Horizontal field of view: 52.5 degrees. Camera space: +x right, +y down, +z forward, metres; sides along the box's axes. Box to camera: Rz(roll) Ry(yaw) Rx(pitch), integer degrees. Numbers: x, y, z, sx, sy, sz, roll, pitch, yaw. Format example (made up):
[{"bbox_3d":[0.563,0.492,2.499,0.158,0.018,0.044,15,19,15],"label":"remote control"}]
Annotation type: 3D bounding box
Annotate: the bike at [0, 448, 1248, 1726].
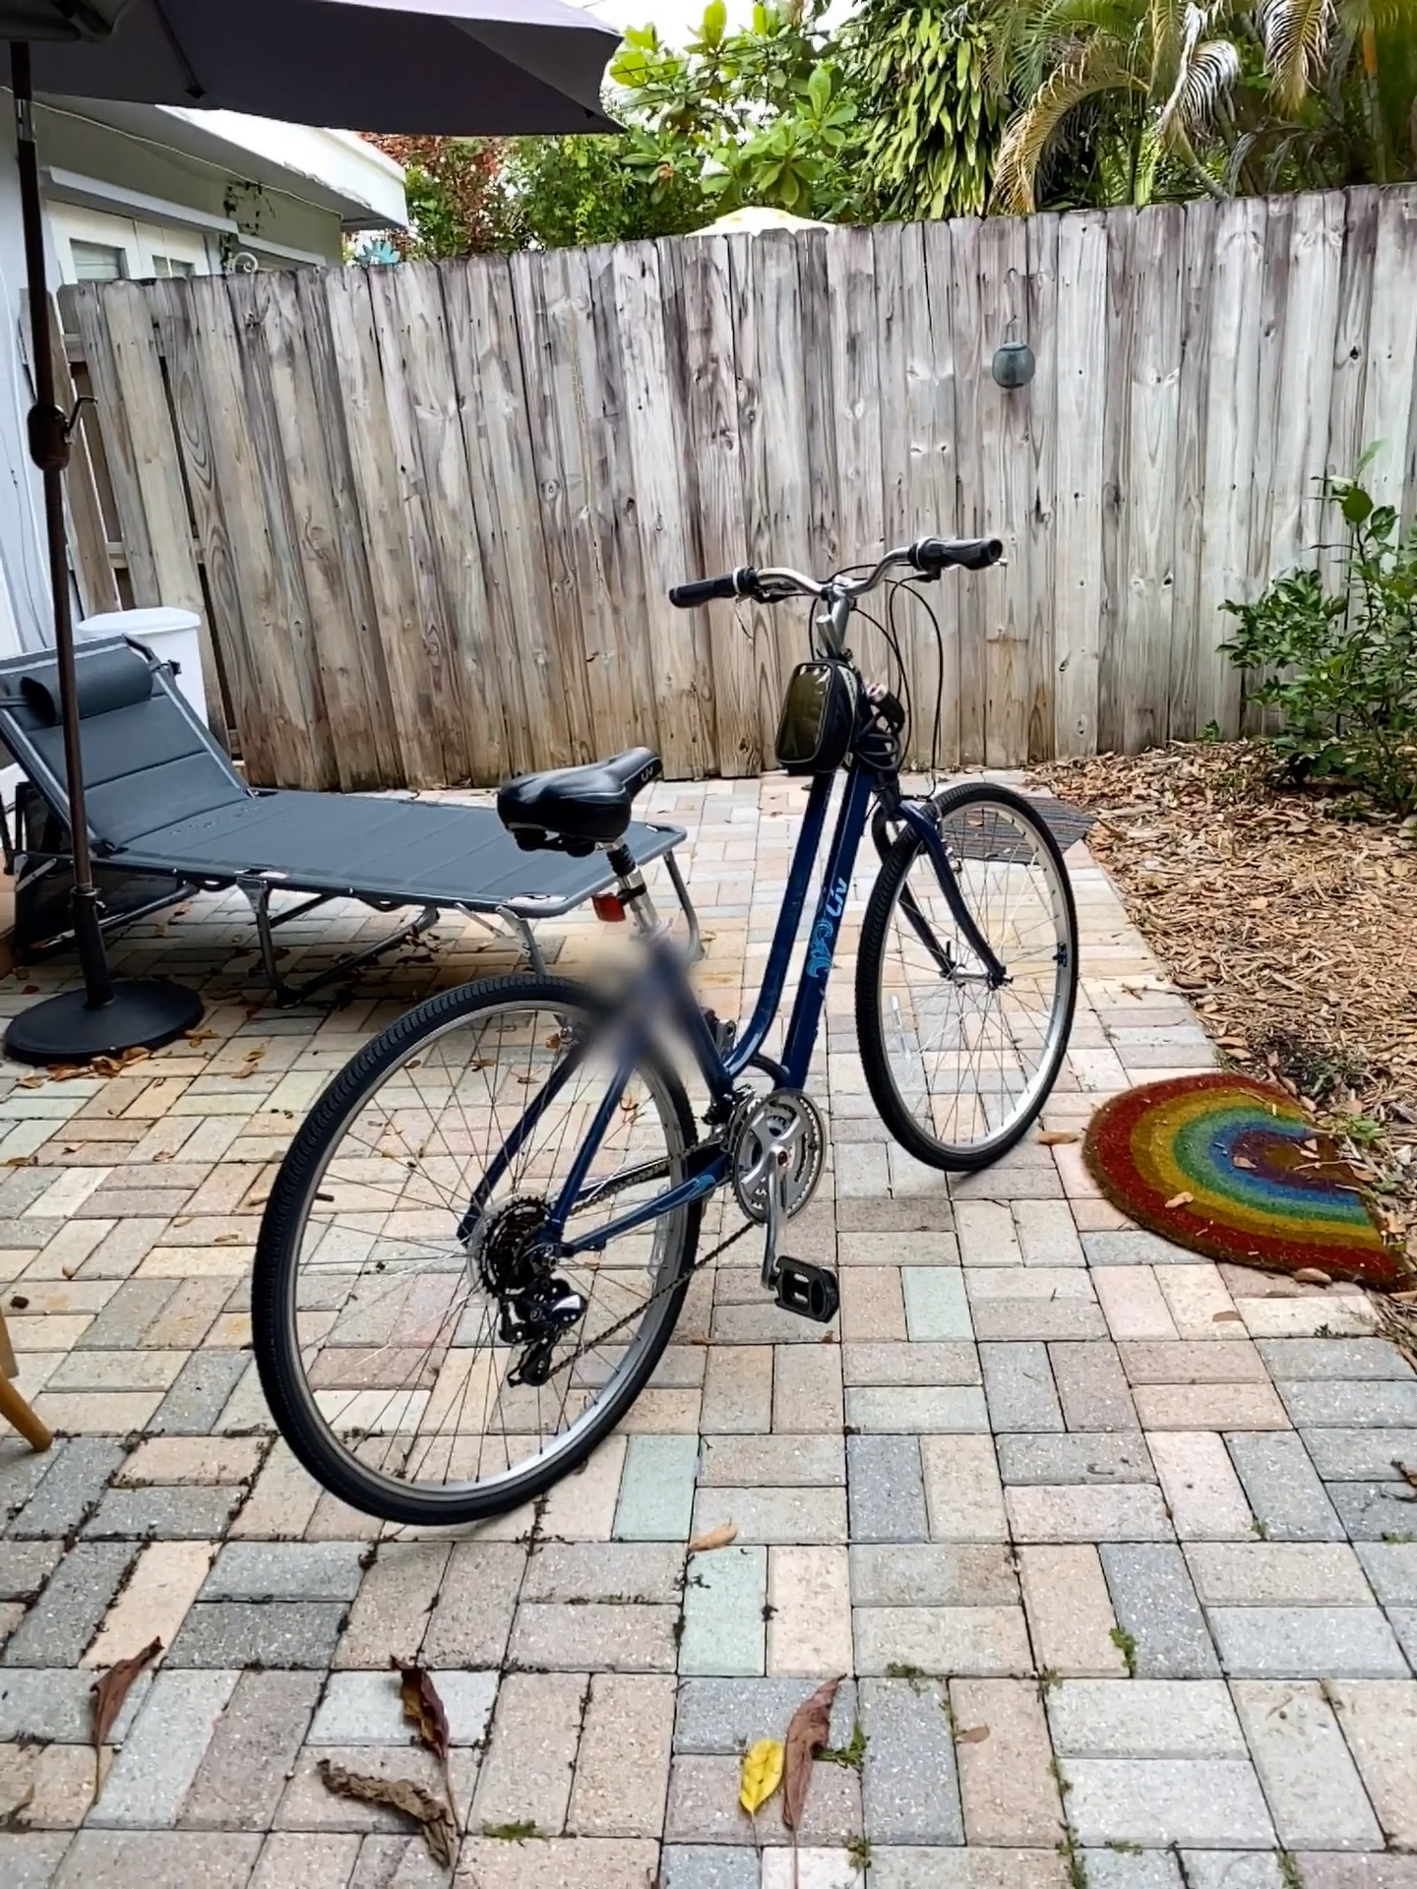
[{"bbox_3d":[0.083,-0.029,2.066,0.596,1.067,1.694,14,29,40],"label":"bike"}]
